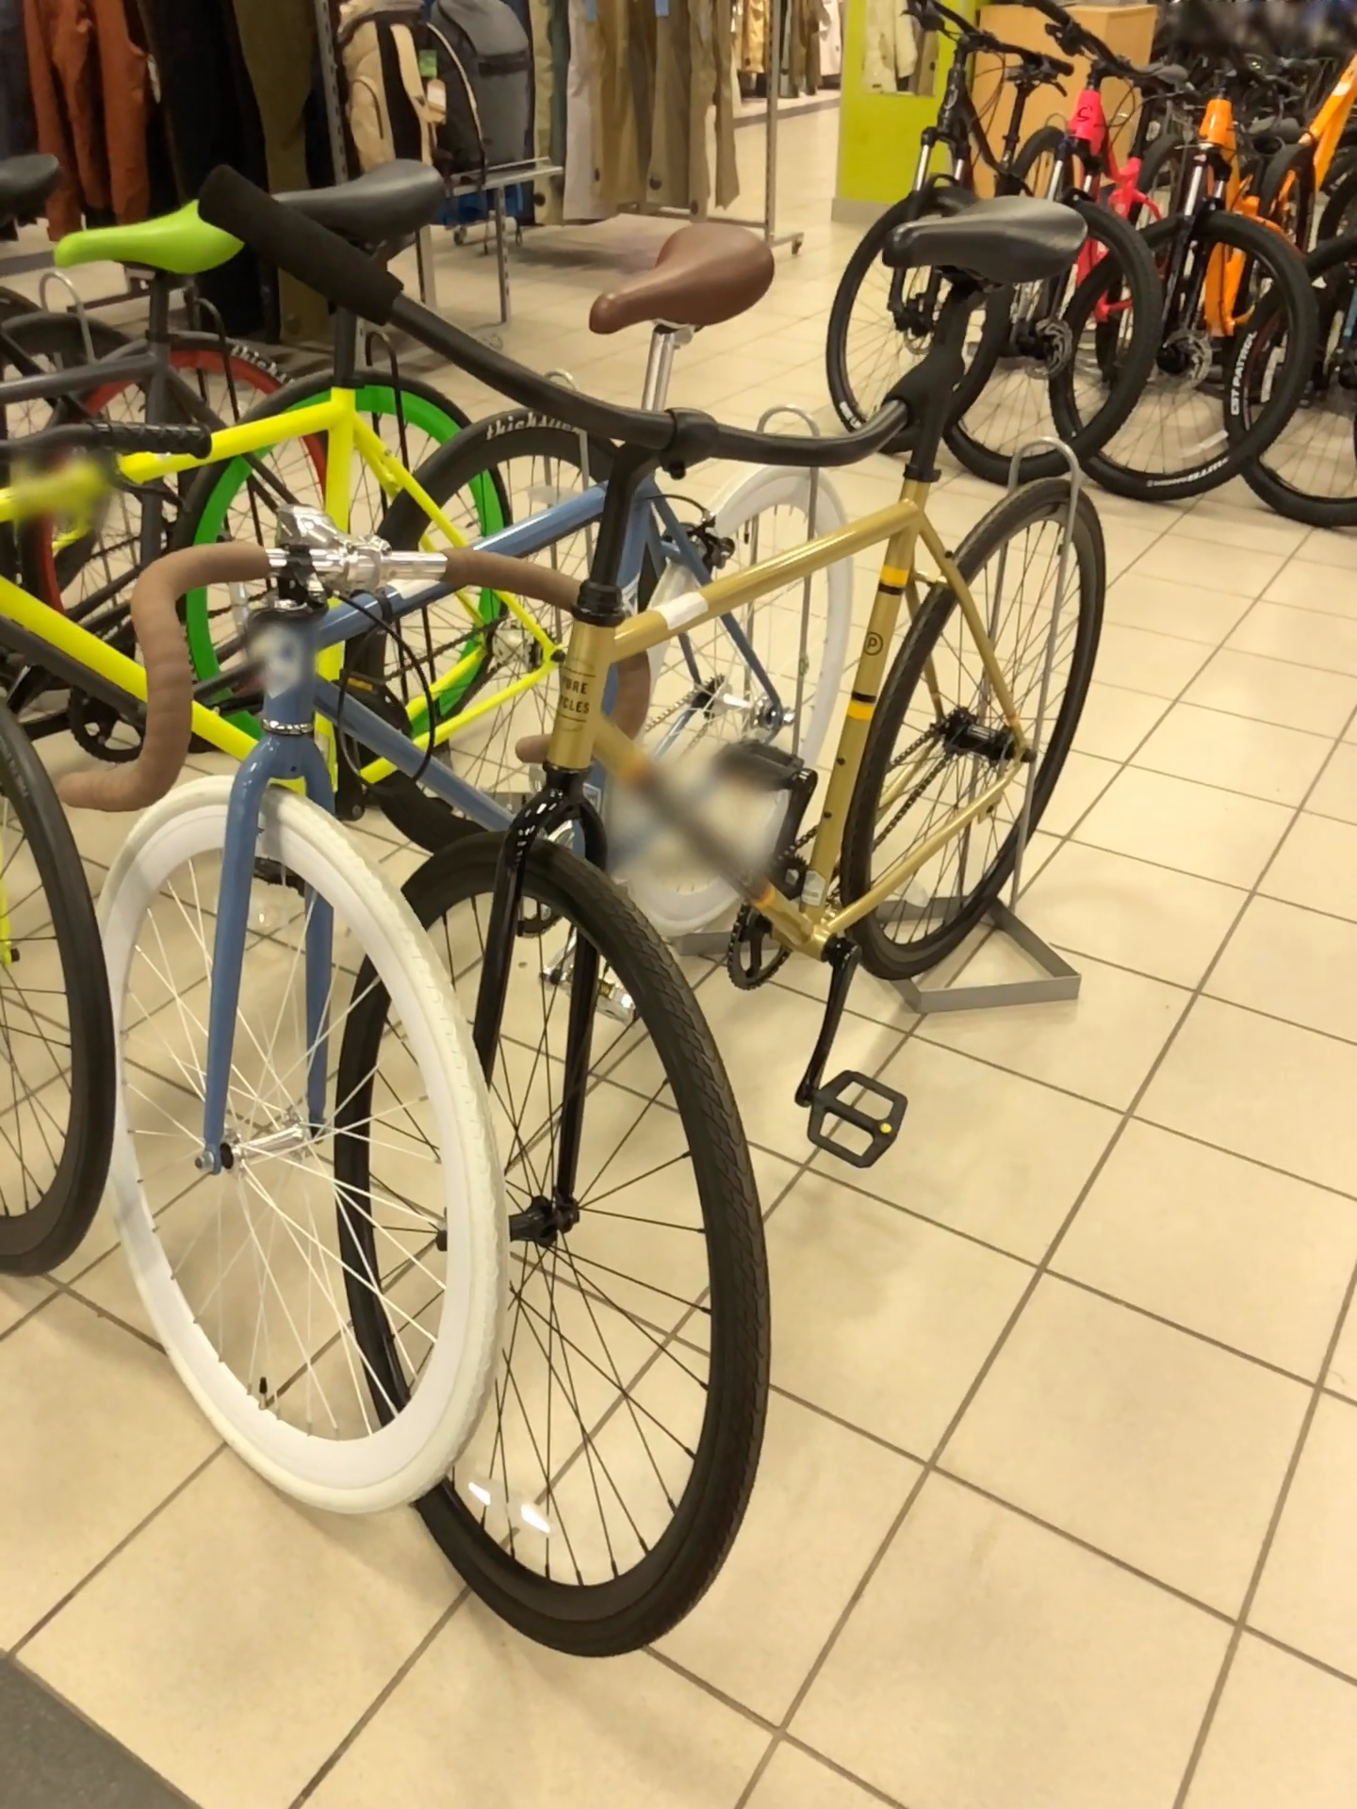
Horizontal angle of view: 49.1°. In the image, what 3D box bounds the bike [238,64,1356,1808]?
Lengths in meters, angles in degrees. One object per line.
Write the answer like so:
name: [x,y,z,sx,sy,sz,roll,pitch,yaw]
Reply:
bike: [0.299,-0.061,1.524,0.673,1.091,1.471,12,40,19]
